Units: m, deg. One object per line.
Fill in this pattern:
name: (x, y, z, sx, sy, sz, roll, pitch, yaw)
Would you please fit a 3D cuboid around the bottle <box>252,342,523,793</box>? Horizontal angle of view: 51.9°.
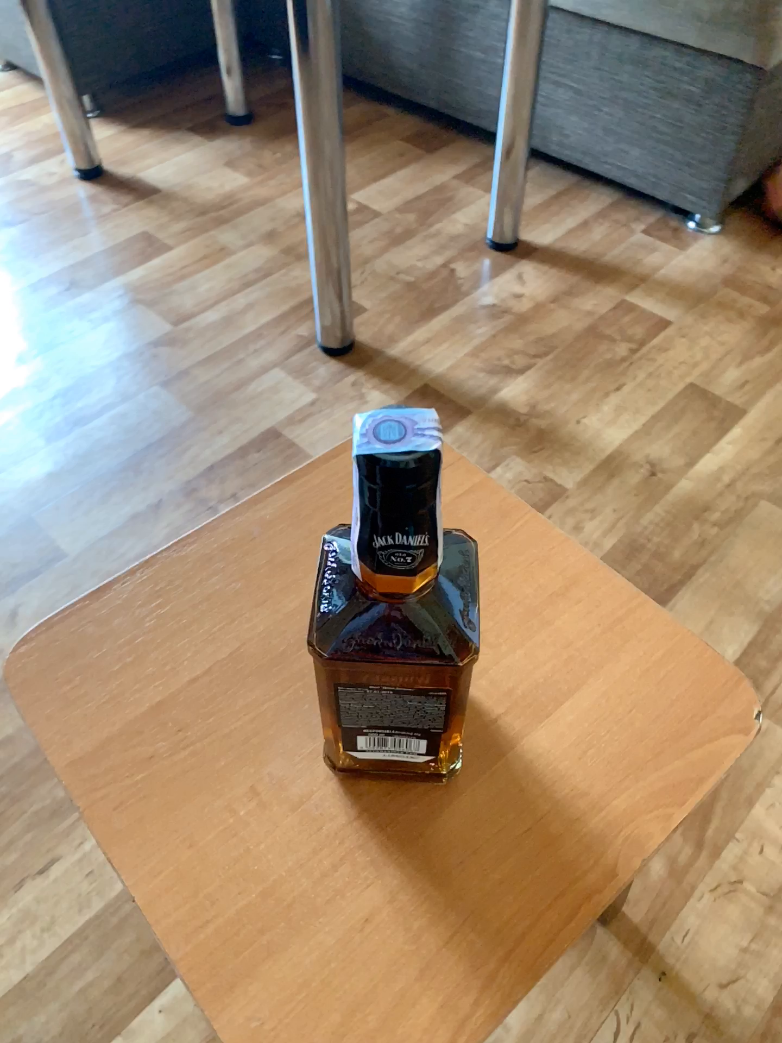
bottle: (0.002, 0.034, 0.343, 0.080, 0.209, 0.080, -1, 50, 1)
